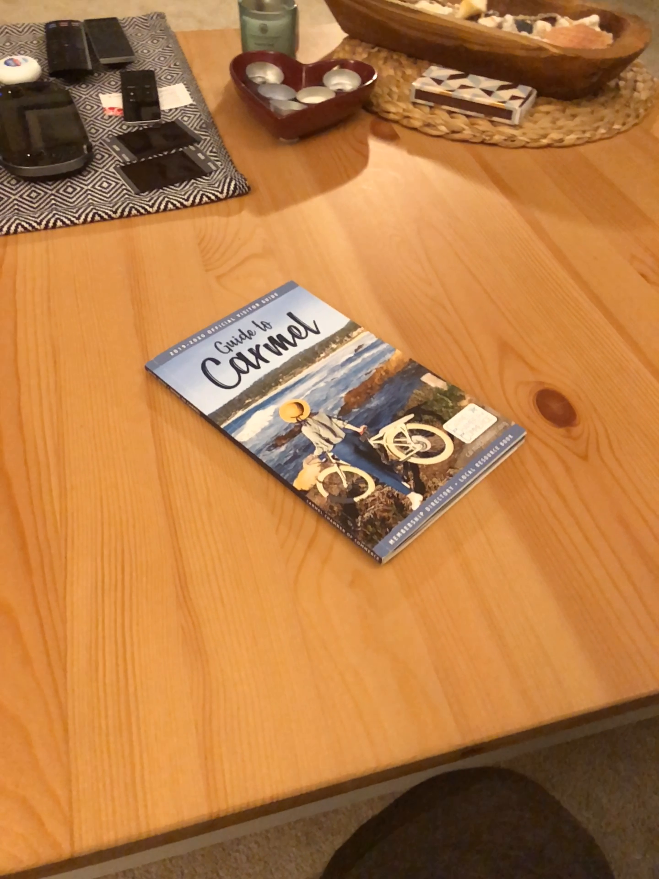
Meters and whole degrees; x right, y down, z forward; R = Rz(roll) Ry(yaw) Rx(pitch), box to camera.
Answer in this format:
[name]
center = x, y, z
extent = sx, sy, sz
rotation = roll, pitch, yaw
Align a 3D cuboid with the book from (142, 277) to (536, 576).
[book]
center = 0.002, -0.024, 0.452
extent = 0.208, 0.010, 0.138
rotation = 37, 56, 27
